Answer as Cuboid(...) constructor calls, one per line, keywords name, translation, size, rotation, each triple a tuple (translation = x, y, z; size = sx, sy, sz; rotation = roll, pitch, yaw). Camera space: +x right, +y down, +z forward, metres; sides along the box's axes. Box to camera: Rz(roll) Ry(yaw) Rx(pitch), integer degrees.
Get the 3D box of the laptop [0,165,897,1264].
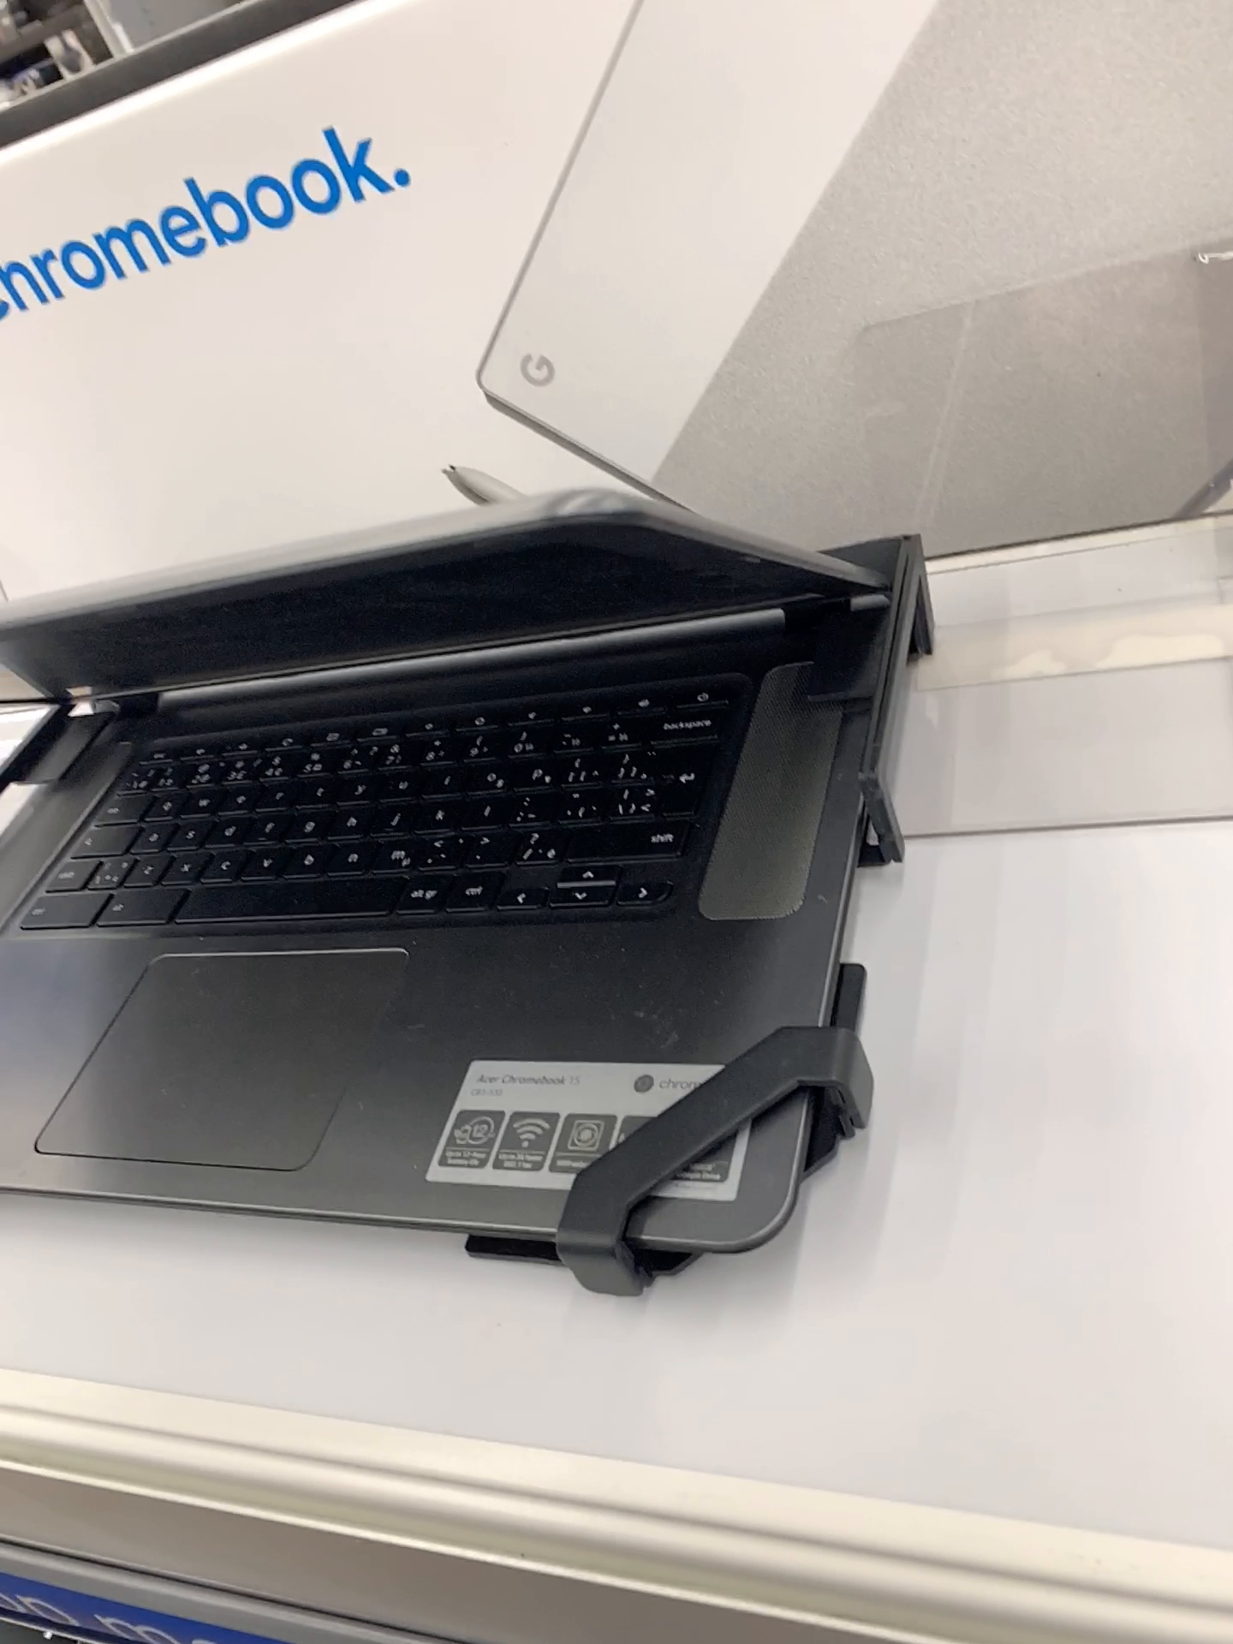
Cuboid(name="laptop", translation=(-0.105, -0.025, 0.316), size=(0.303, 0.119, 0.198), rotation=(-4, 42, 26))
